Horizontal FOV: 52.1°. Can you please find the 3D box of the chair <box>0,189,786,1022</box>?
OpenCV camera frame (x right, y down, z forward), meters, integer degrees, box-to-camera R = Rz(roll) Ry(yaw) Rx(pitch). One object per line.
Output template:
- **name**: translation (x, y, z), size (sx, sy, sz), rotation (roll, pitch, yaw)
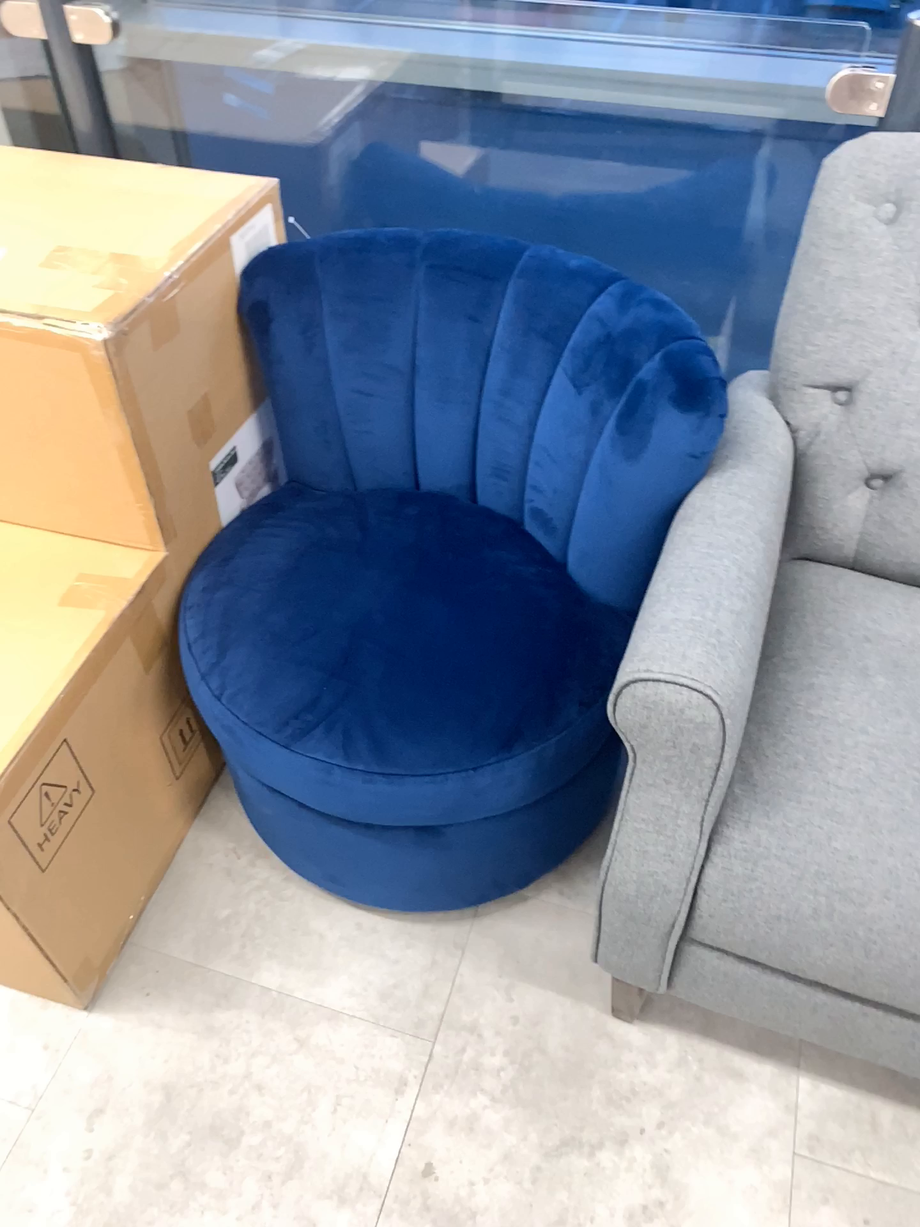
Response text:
- **chair**: translation (-0.044, -0.039, 1.241), size (0.641, 0.674, 0.665), rotation (19, 49, 18)
